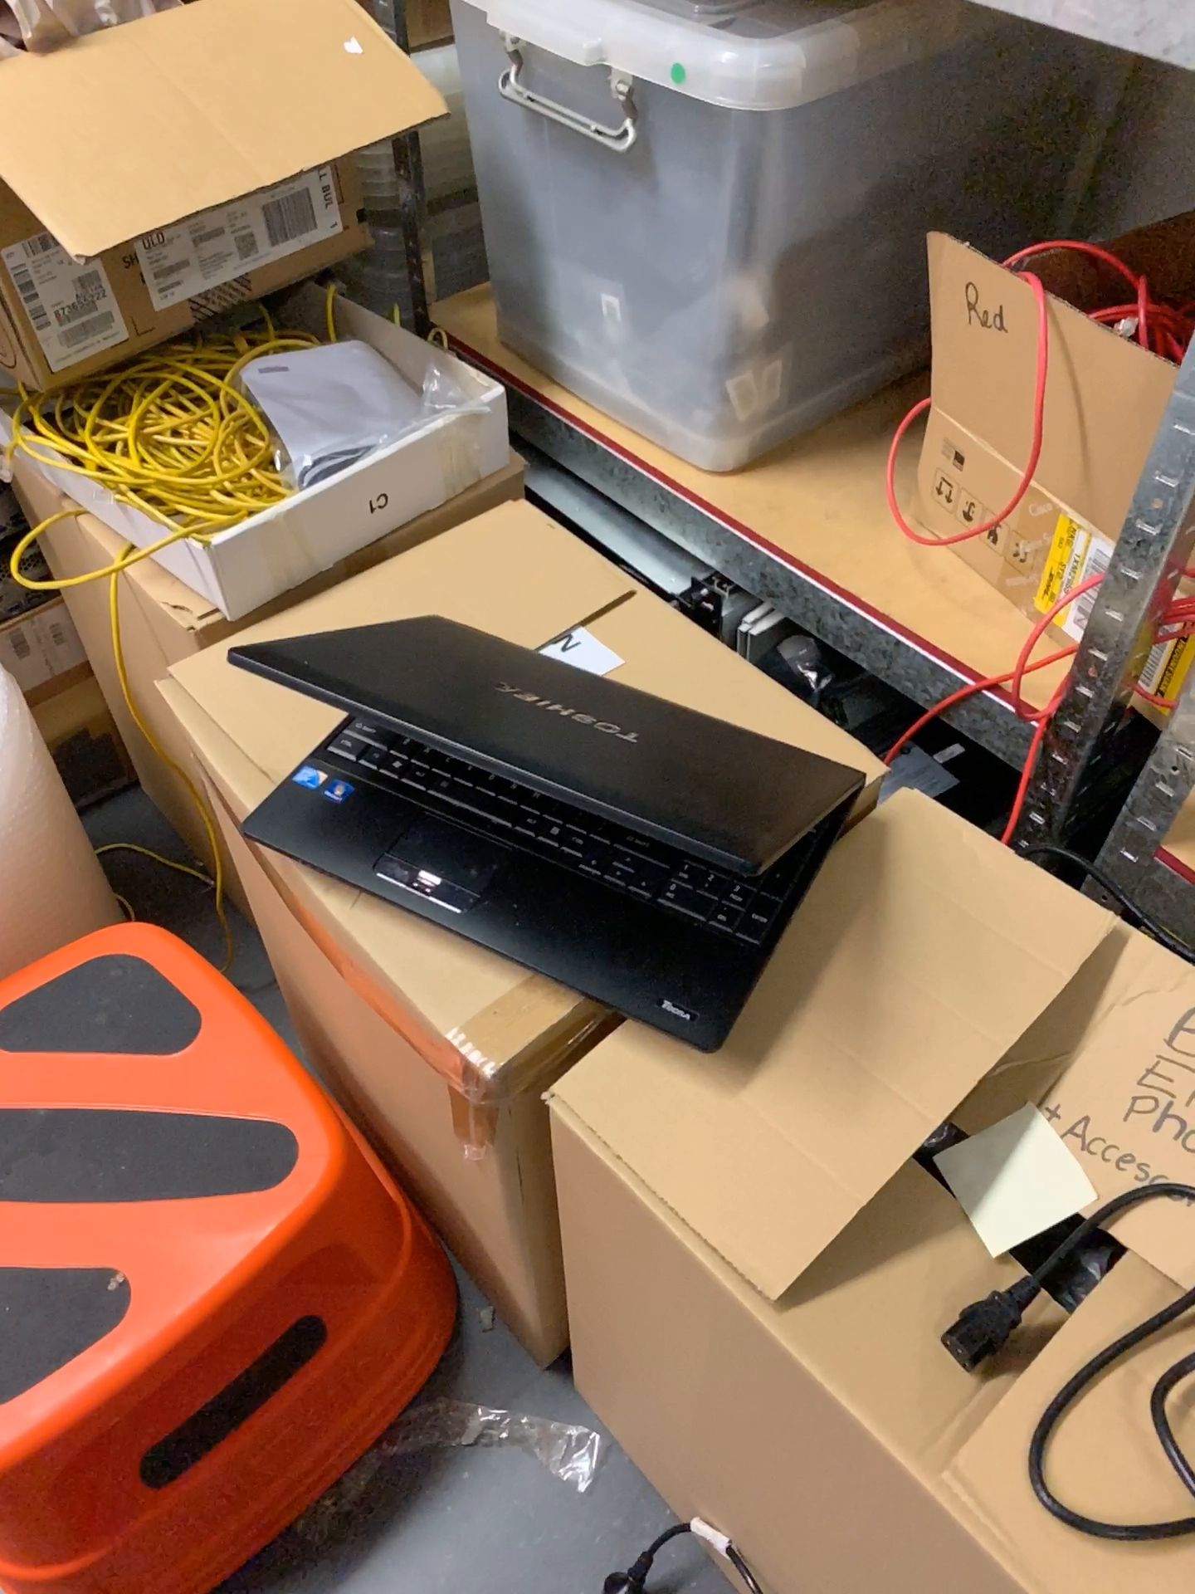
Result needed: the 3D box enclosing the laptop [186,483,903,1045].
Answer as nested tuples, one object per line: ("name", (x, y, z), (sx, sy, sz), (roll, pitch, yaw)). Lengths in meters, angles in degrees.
("laptop", (-0.029, -0.036, 0.791), (0.355, 0.135, 0.232), (22, 54, 17))
